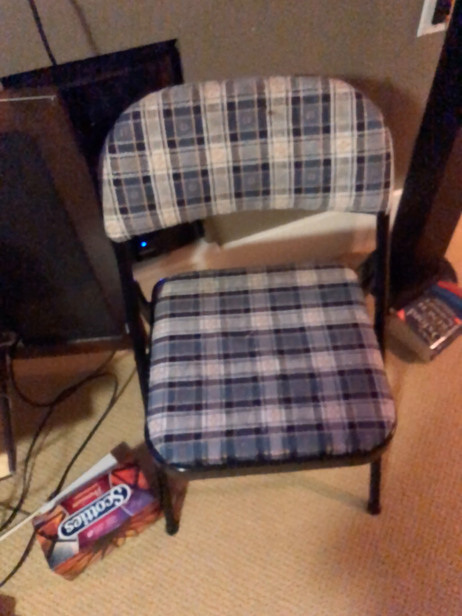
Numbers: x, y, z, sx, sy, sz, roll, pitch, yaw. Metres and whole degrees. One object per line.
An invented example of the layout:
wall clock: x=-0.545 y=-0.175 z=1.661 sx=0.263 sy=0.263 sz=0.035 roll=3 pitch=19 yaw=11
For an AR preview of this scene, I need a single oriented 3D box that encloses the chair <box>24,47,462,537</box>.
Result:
chair: x=0.060 y=0.034 z=0.938 sx=0.500 sy=0.706 sz=0.563 roll=-3 pitch=55 yaw=1
